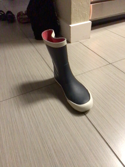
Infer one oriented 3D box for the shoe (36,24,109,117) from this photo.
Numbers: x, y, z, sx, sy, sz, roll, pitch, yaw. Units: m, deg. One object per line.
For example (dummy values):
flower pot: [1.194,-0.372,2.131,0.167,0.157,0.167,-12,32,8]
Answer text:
shoe: [0.021,-0.063,0.505,0.102,0.216,0.280,-23,44,-17]
